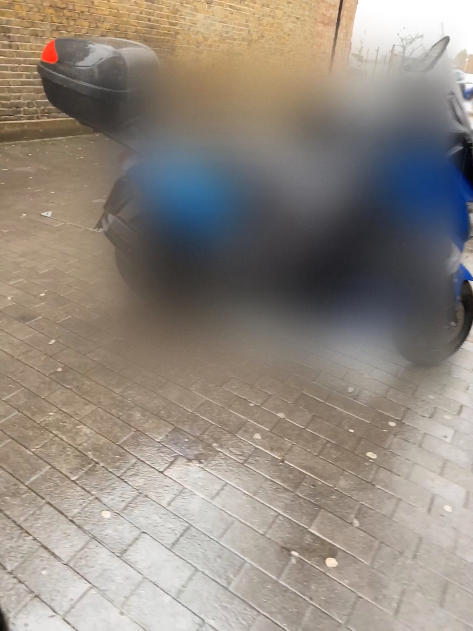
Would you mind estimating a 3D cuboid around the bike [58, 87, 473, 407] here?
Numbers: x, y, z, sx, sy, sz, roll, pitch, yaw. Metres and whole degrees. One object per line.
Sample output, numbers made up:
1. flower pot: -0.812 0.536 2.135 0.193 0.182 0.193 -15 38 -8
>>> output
1. bike: 0.265 -0.348 2.125 1.730 0.998 0.682 9 28 5
